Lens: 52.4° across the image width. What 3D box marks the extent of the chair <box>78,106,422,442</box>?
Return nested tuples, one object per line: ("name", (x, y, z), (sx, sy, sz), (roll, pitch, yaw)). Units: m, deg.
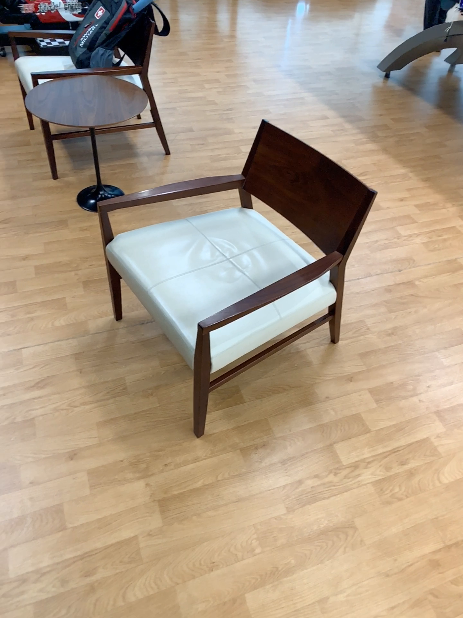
("chair", (0.019, -0.156, 1.544), (0.712, 0.635, 0.674), (-24, 52, -26))
